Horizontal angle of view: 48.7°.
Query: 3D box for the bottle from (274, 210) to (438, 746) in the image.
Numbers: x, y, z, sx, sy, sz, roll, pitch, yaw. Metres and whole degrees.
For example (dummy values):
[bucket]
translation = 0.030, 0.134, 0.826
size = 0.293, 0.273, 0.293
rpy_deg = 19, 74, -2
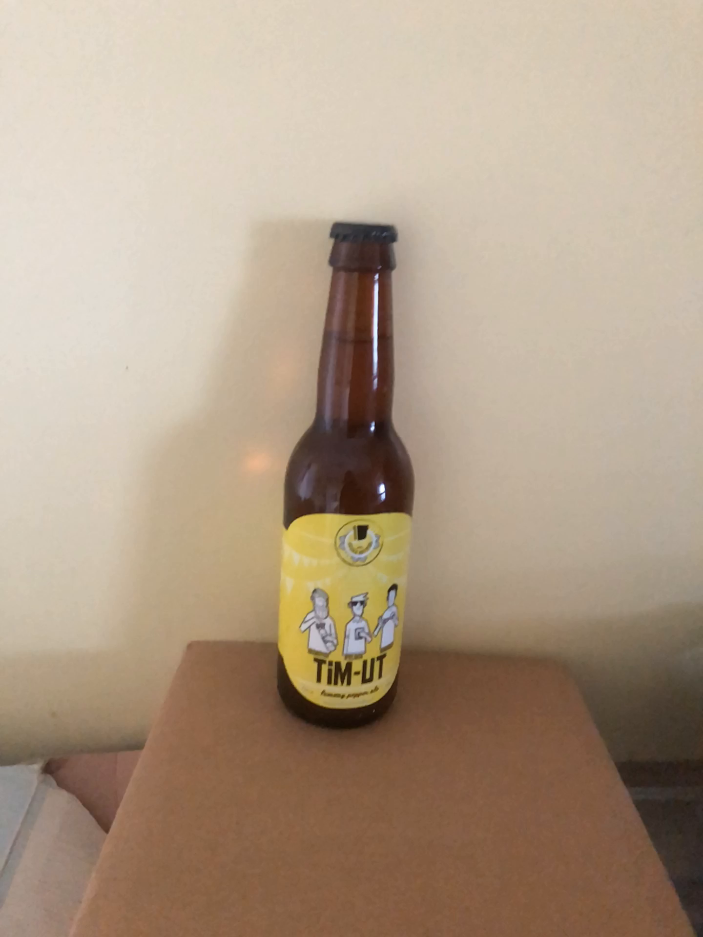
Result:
[bottle]
translation = -0.004, 0.006, 0.347
size = 0.060, 0.229, 0.060
rpy_deg = 1, 17, 0
